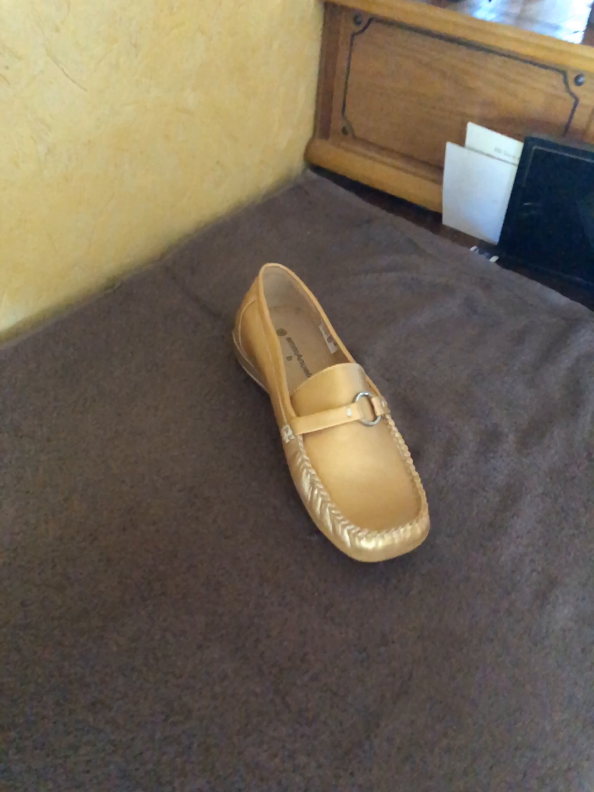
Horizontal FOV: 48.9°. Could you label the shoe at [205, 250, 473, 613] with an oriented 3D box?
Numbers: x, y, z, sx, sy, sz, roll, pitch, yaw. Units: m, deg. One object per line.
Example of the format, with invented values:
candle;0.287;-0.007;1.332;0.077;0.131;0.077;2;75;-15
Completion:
shoe;0.010;0.006;0.462;0.080;0.079;0.261;-12;47;-18
